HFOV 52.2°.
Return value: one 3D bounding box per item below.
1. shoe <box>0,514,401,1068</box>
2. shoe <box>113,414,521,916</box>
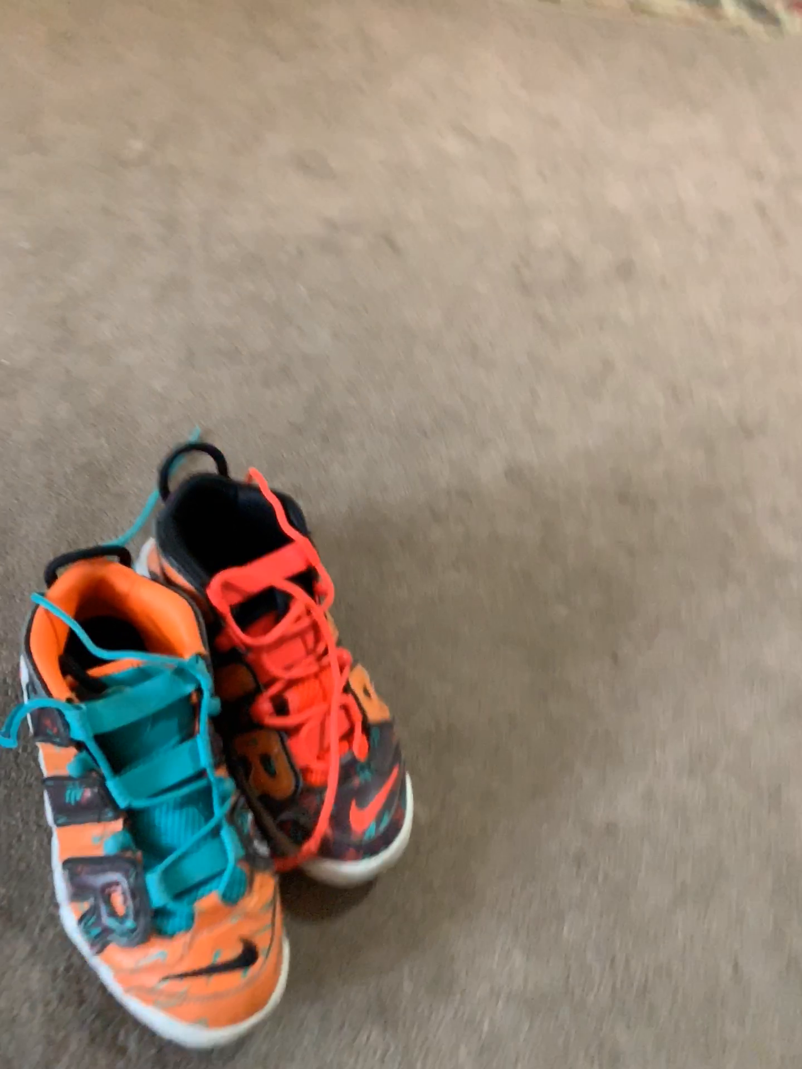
[{"bbox_3d":[-0.111,0.130,0.396,0.100,0.089,0.251,-19,69,-26],"label":"shoe"},{"bbox_3d":[-0.056,0.070,0.450,0.100,0.109,0.231,-25,72,-24],"label":"shoe"}]
